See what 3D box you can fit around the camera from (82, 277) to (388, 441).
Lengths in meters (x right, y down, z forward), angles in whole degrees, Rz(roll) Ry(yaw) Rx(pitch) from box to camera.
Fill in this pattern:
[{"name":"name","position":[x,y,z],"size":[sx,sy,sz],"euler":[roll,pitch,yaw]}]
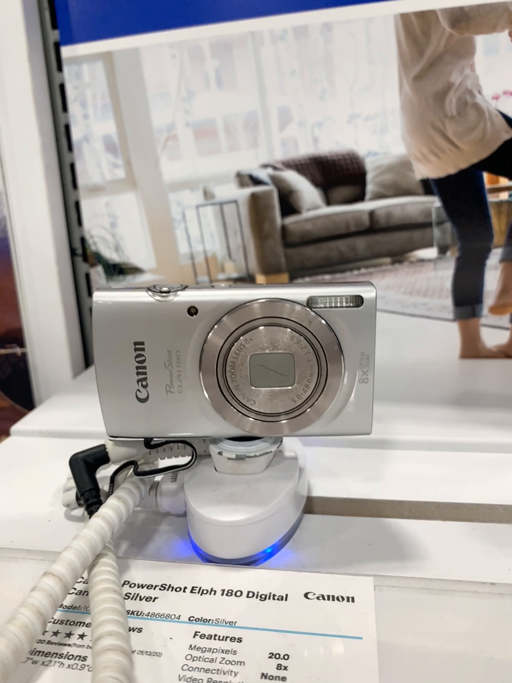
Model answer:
[{"name":"camera","position":[-0.006,0.006,0.193],"size":[0.098,0.051,0.022],"euler":[-2,21,2]}]
